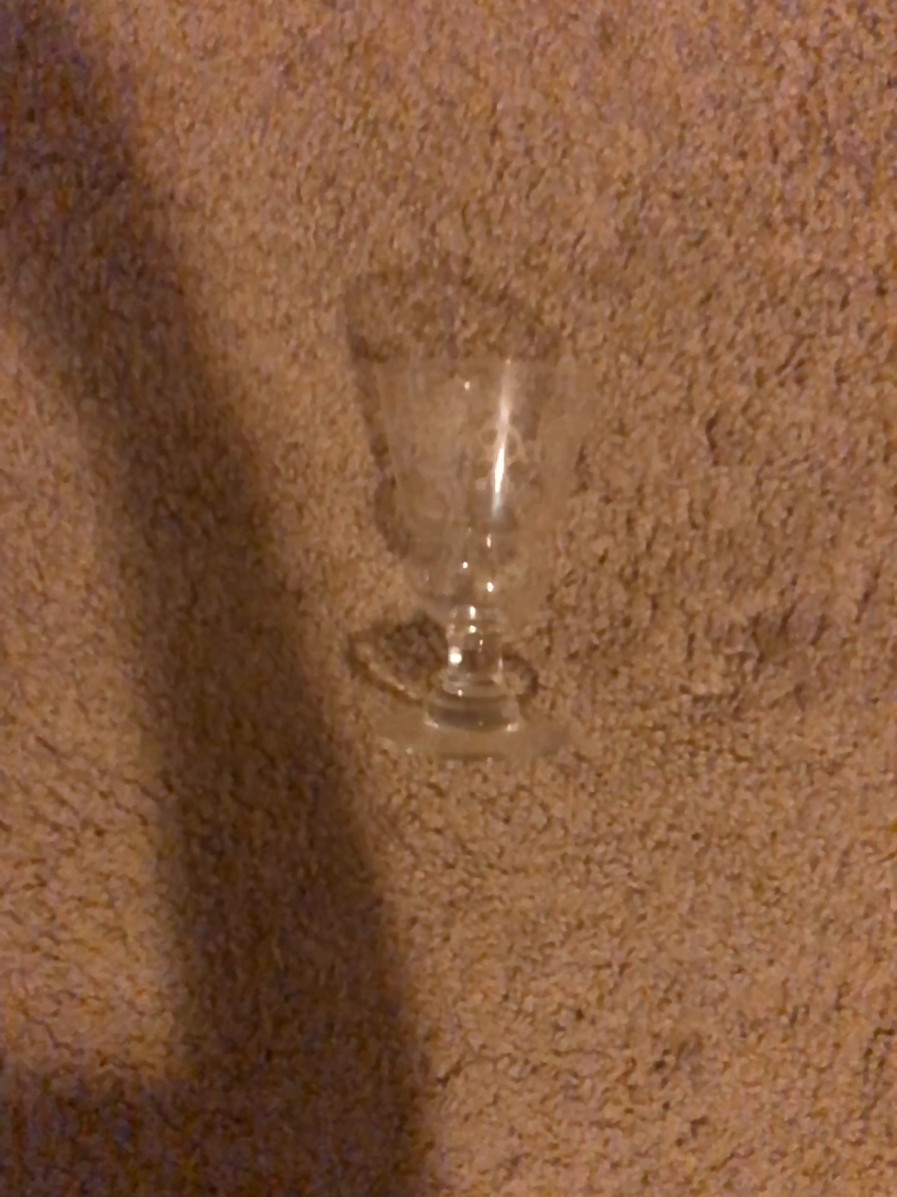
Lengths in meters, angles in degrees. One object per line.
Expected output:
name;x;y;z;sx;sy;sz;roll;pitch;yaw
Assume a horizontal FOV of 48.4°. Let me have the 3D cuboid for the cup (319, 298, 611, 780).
cup;0.006;-0.021;0.369;0.094;0.078;0.158;1;94;2
